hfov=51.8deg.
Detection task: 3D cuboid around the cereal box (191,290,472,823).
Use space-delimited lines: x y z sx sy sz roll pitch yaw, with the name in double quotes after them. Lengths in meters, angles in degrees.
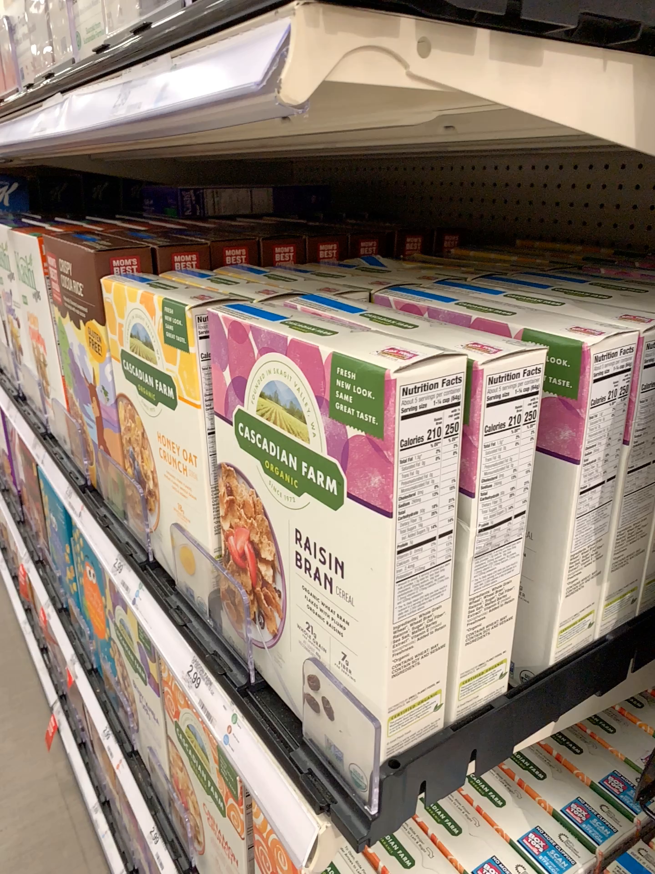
-0.008 0.059 0.424 0.050 0.269 0.201 -15 26 -32 "cereal box"
